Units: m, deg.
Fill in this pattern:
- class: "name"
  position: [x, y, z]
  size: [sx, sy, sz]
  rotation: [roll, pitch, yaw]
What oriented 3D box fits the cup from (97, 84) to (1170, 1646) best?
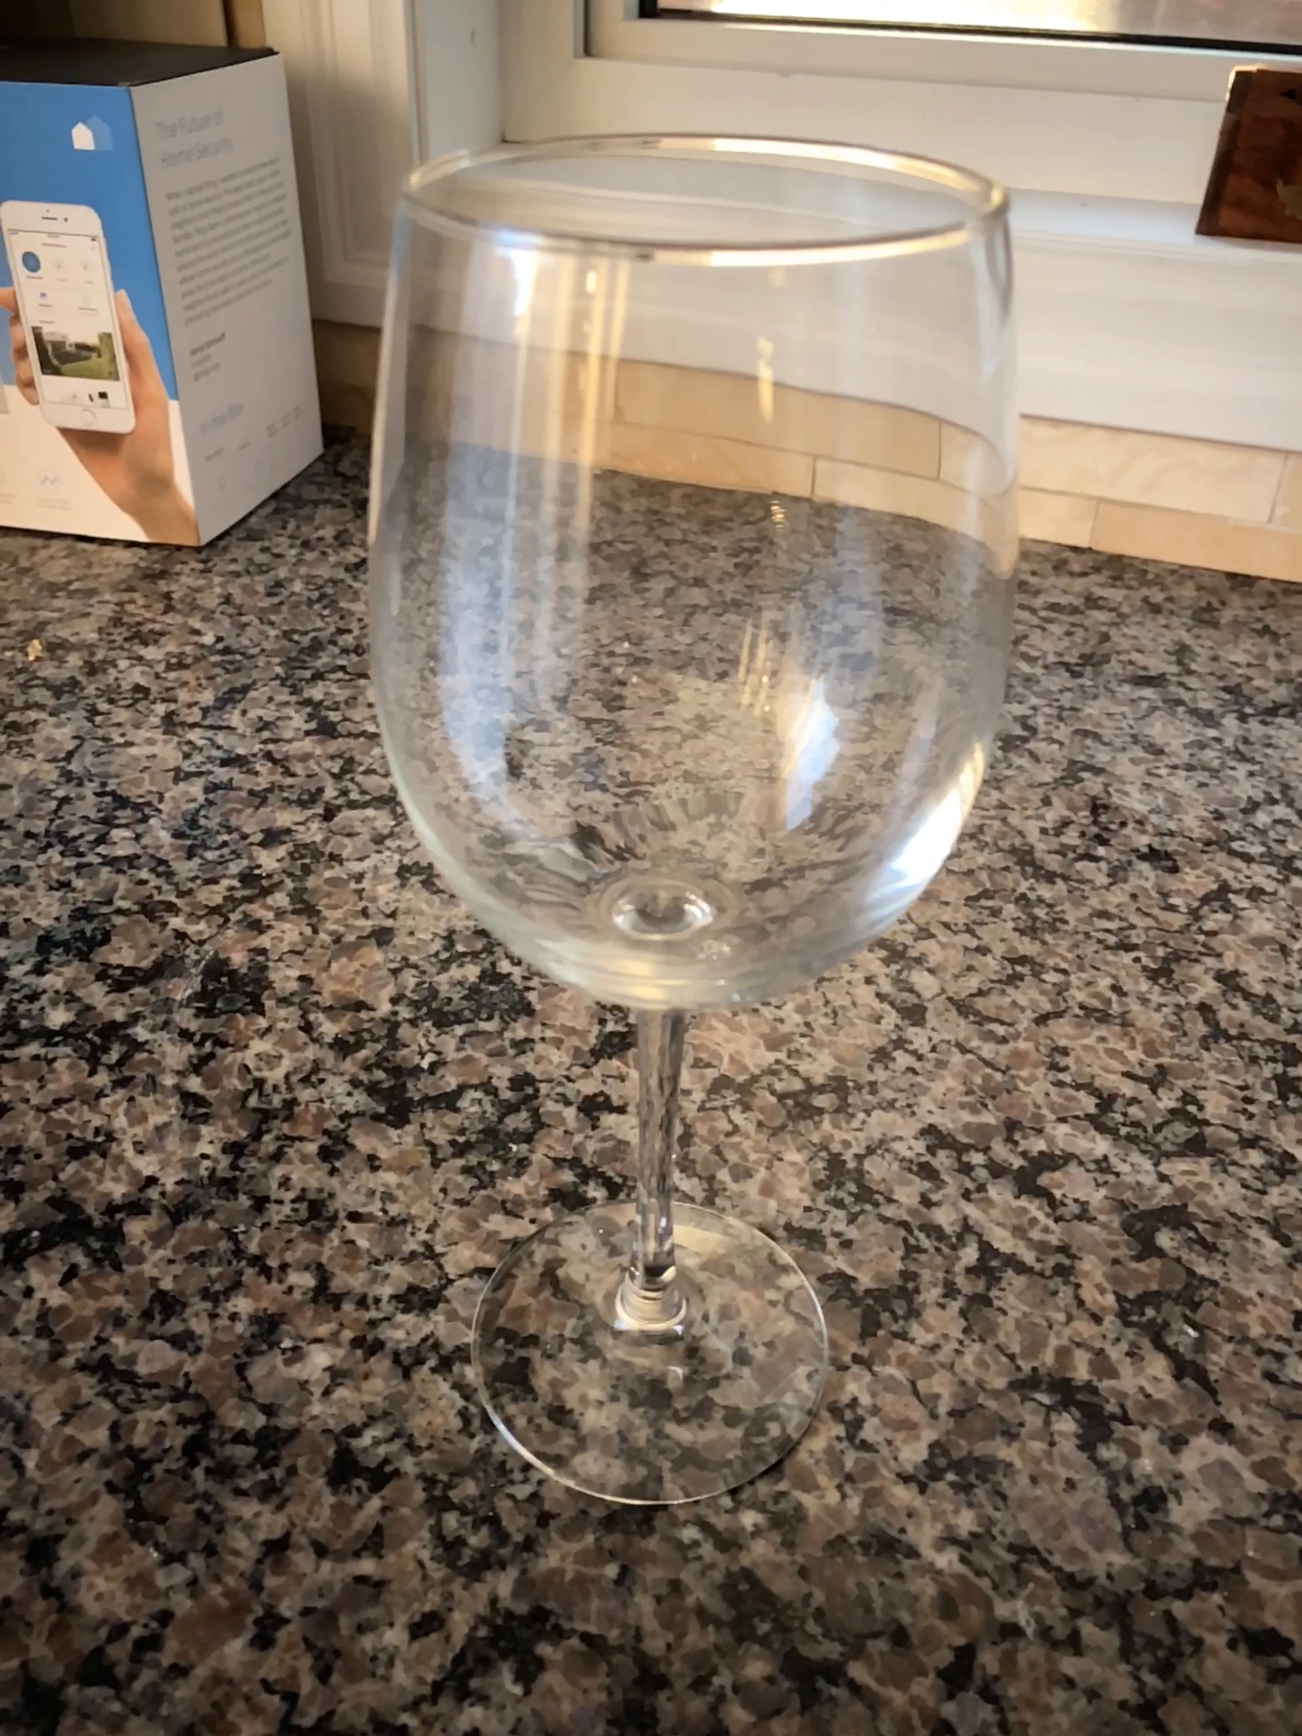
- class: "cup"
  position: [0.003, 0.004, 0.235]
  size: [0.095, 0.217, 0.097]
  rotation: [1, 35, -1]
